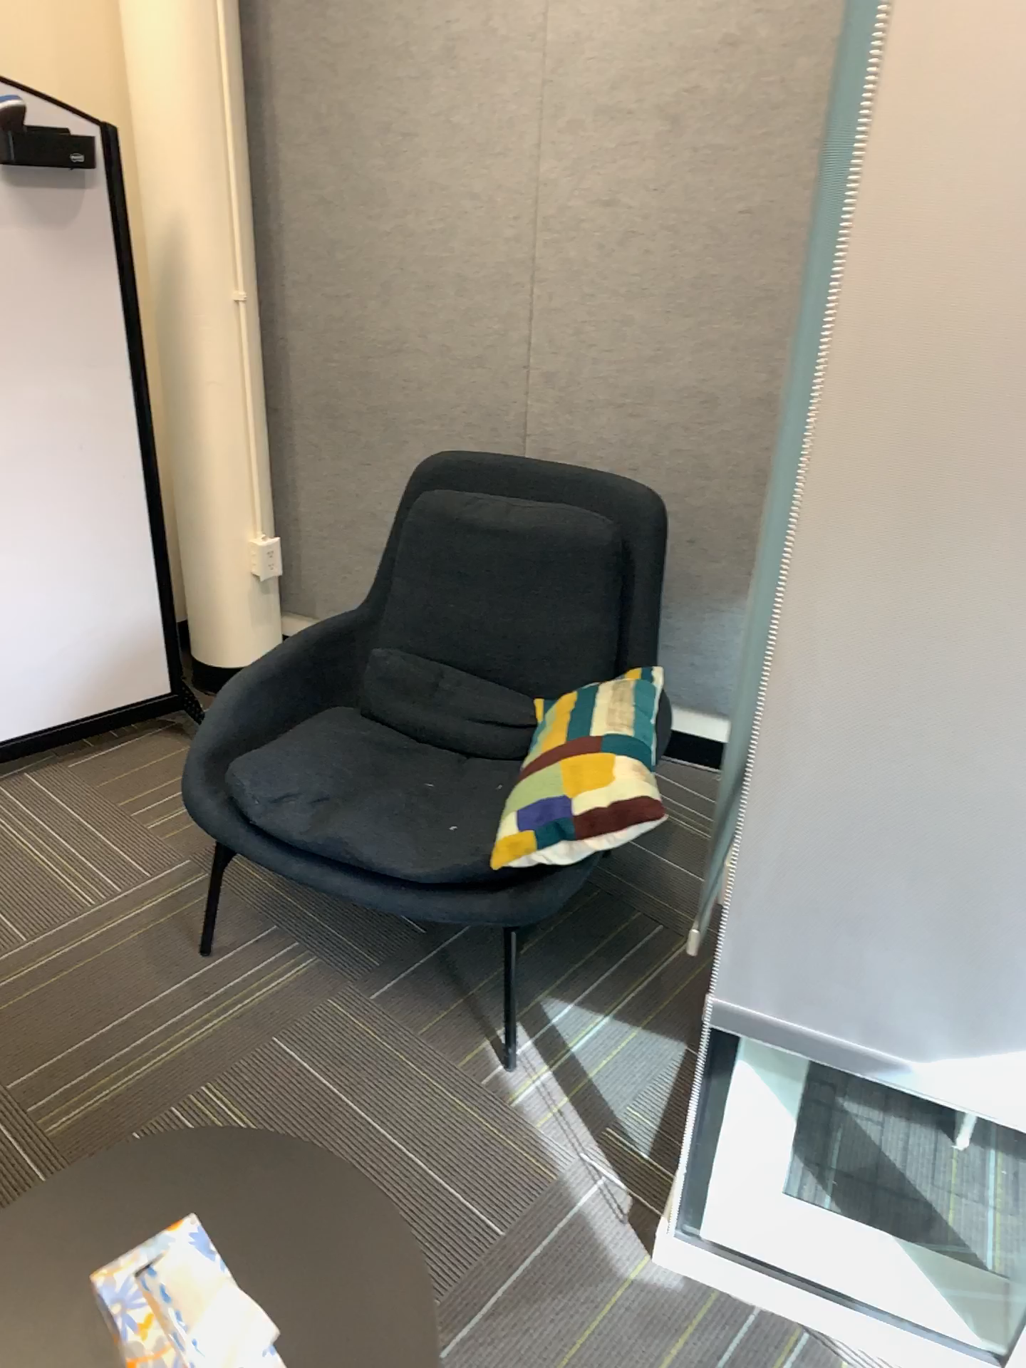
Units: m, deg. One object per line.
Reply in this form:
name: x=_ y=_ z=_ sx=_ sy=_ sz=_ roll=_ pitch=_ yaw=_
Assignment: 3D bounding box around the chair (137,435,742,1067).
chair: x=-0.100 y=0.036 z=2.278 sx=0.792 sy=0.815 sz=1.003 roll=17 pitch=31 yaw=24
